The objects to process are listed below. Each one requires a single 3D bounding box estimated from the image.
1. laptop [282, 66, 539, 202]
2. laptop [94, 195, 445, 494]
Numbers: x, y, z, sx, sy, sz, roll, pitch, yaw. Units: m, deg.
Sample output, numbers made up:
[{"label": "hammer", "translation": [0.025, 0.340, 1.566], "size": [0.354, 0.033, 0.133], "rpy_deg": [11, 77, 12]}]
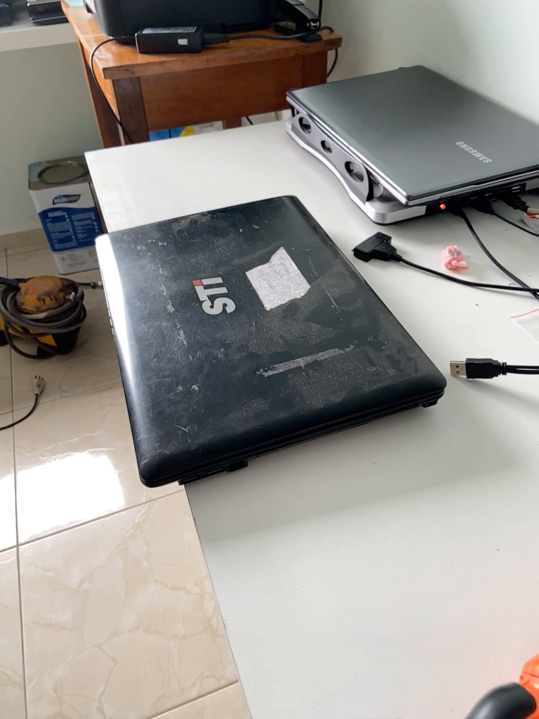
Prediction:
[{"label": "laptop", "translation": [0.190, -0.312, 0.724], "size": [0.227, 0.006, 0.345], "rpy_deg": [-18, 47, -14]}, {"label": "laptop", "translation": [-0.031, -0.051, 0.516], "size": [0.230, 0.011, 0.339], "rpy_deg": [-16, 44, -10]}]
